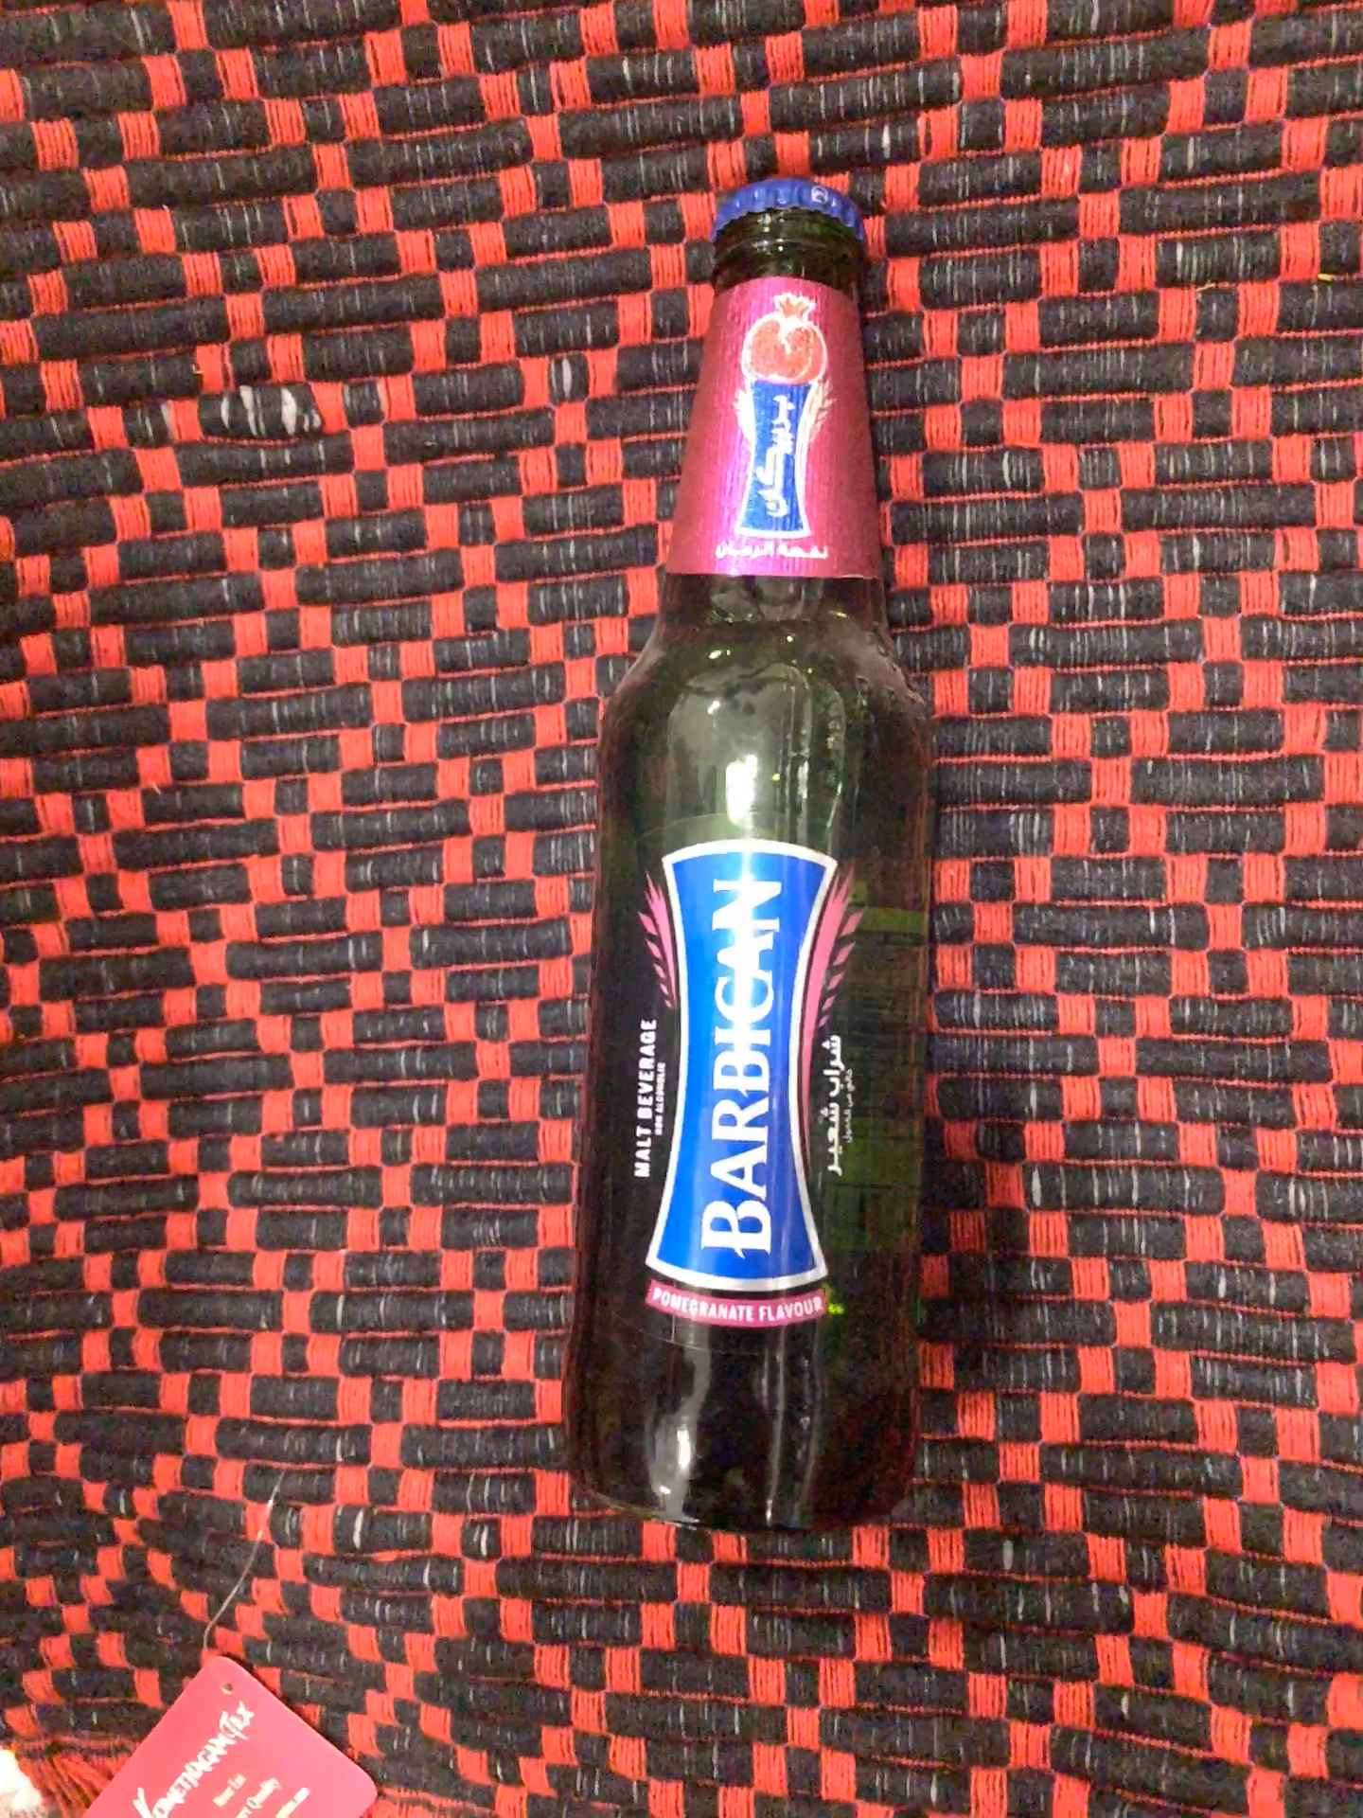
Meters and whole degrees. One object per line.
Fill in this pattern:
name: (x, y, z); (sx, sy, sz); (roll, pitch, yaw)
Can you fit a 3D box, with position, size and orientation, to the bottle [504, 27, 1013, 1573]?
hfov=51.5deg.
bottle: (0.022, -0.021, 0.256); (0.070, 0.080, 0.240); (0, 77, 12)
